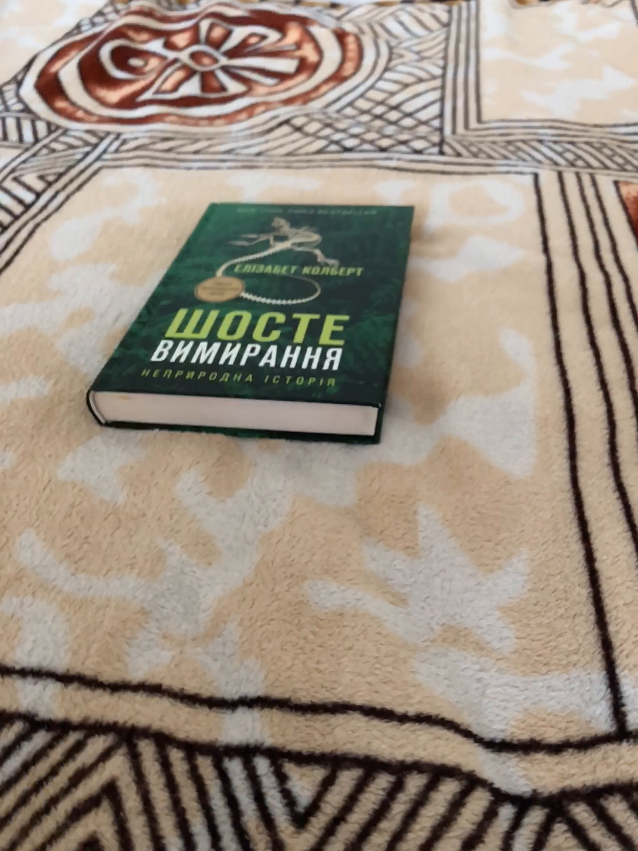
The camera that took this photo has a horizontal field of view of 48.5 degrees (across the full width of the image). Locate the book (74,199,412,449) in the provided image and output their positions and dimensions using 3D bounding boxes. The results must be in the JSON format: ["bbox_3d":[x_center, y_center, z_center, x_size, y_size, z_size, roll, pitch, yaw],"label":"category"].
[{"bbox_3d":[-0.027,-0.077,0.429,0.150,0.030,0.221,4,41,10],"label":"book"}]
